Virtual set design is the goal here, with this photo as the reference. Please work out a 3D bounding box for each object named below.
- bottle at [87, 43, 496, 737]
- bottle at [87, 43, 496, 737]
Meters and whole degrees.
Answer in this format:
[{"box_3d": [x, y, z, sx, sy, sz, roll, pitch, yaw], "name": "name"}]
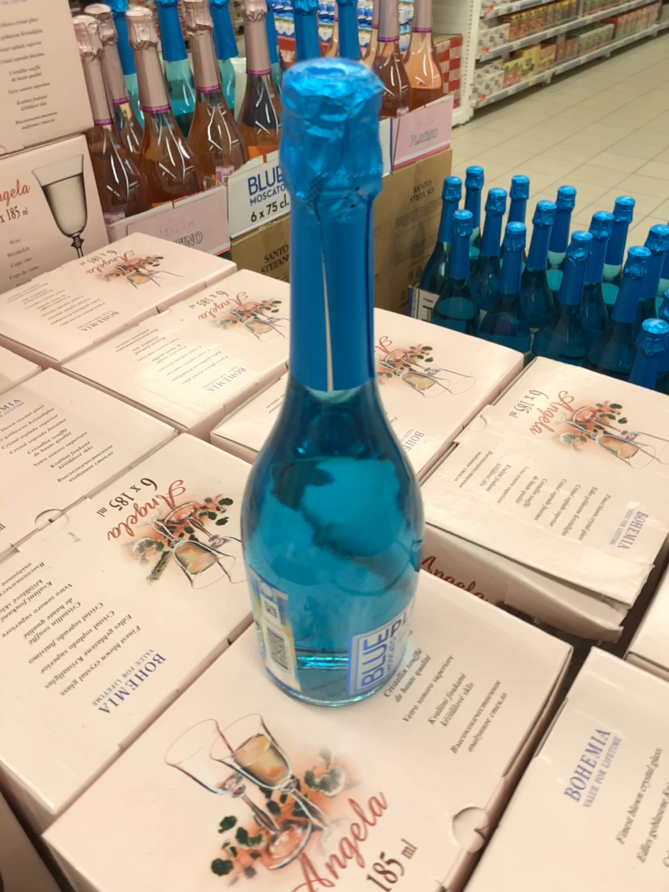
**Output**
[{"box_3d": [-0.006, -0.008, 0.323, 0.100, 0.278, 0.101, -1, 38, 0], "name": "bottle"}, {"box_3d": [-0.006, -0.008, 0.323, 0.100, 0.278, 0.101, -1, 38, 0], "name": "bottle"}]
